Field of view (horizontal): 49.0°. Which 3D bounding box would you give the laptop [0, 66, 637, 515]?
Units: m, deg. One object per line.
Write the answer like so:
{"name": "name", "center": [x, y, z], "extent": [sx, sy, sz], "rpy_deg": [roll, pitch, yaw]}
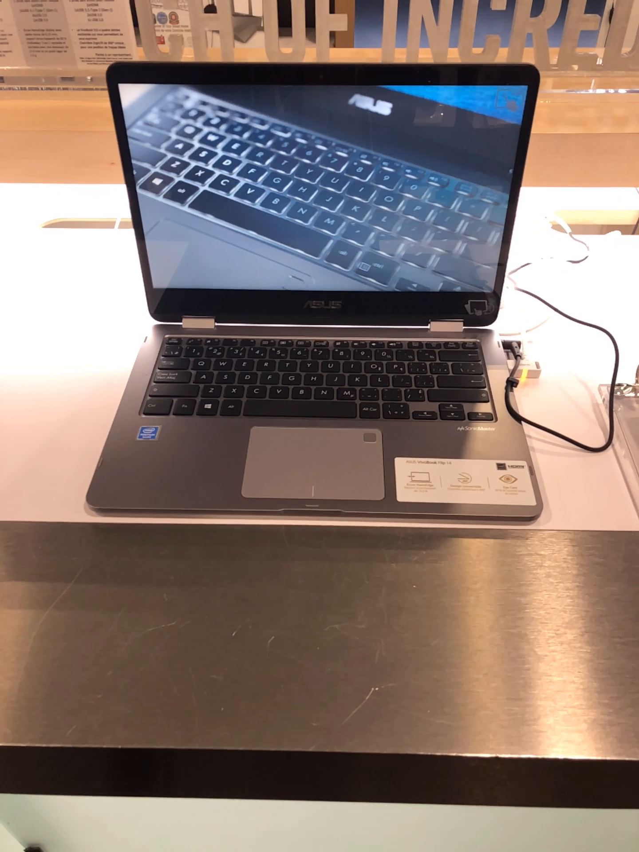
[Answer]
{"name": "laptop", "center": [-0.003, -0.094, 0.471], "extent": [0.303, 0.210, 0.211], "rpy_deg": [1, 44, 2]}
